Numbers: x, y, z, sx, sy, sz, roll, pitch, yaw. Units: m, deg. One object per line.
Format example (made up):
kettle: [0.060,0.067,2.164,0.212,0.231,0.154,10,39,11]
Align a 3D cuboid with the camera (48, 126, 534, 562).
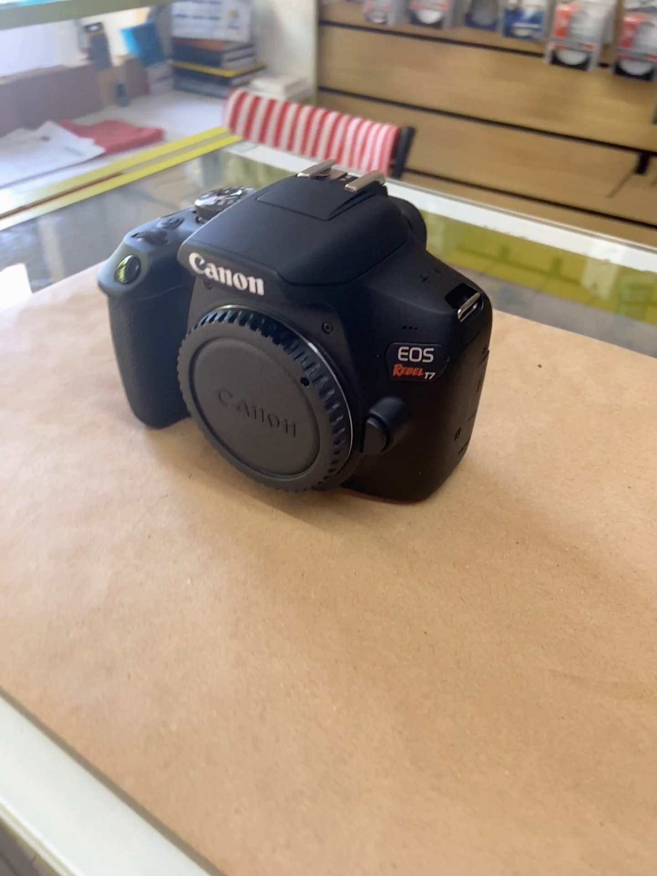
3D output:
camera: [-0.014,-0.039,0.237,0.131,0.093,0.072,24,45,25]
